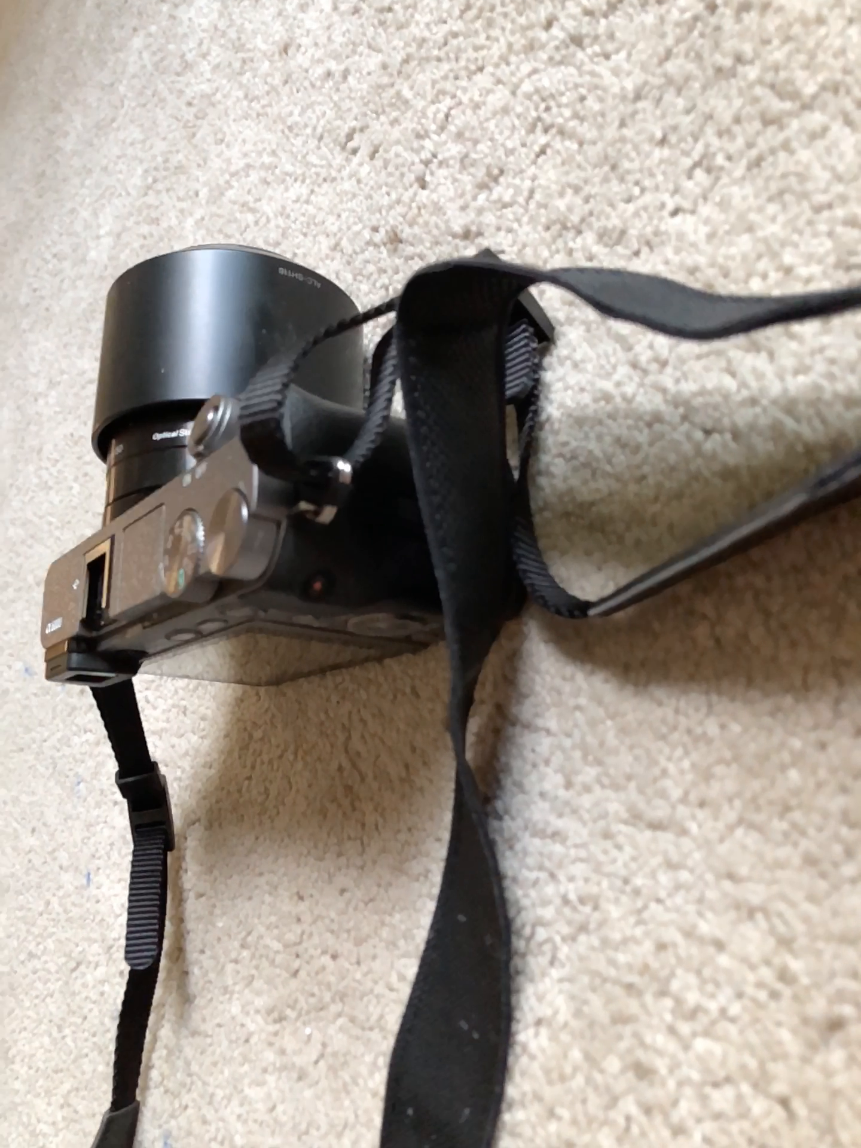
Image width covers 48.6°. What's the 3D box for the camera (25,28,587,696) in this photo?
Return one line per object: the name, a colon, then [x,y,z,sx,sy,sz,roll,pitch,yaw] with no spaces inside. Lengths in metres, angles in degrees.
camera: [-0.035,-0.031,0.223,0.121,0.070,0.100,-18,67,49]
